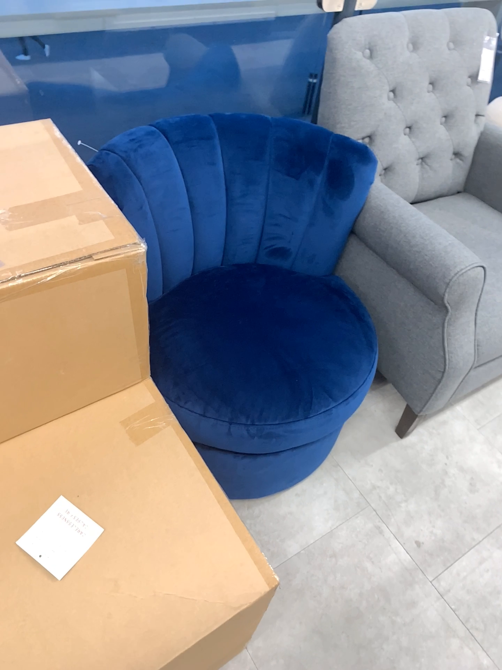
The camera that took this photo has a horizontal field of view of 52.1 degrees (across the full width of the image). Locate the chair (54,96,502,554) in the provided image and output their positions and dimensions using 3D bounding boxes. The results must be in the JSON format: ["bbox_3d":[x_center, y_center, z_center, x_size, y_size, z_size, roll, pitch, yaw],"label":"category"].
[{"bbox_3d":[-0.010,-0.051,1.202,0.642,0.674,0.664,-15,52,-21],"label":"chair"}]
